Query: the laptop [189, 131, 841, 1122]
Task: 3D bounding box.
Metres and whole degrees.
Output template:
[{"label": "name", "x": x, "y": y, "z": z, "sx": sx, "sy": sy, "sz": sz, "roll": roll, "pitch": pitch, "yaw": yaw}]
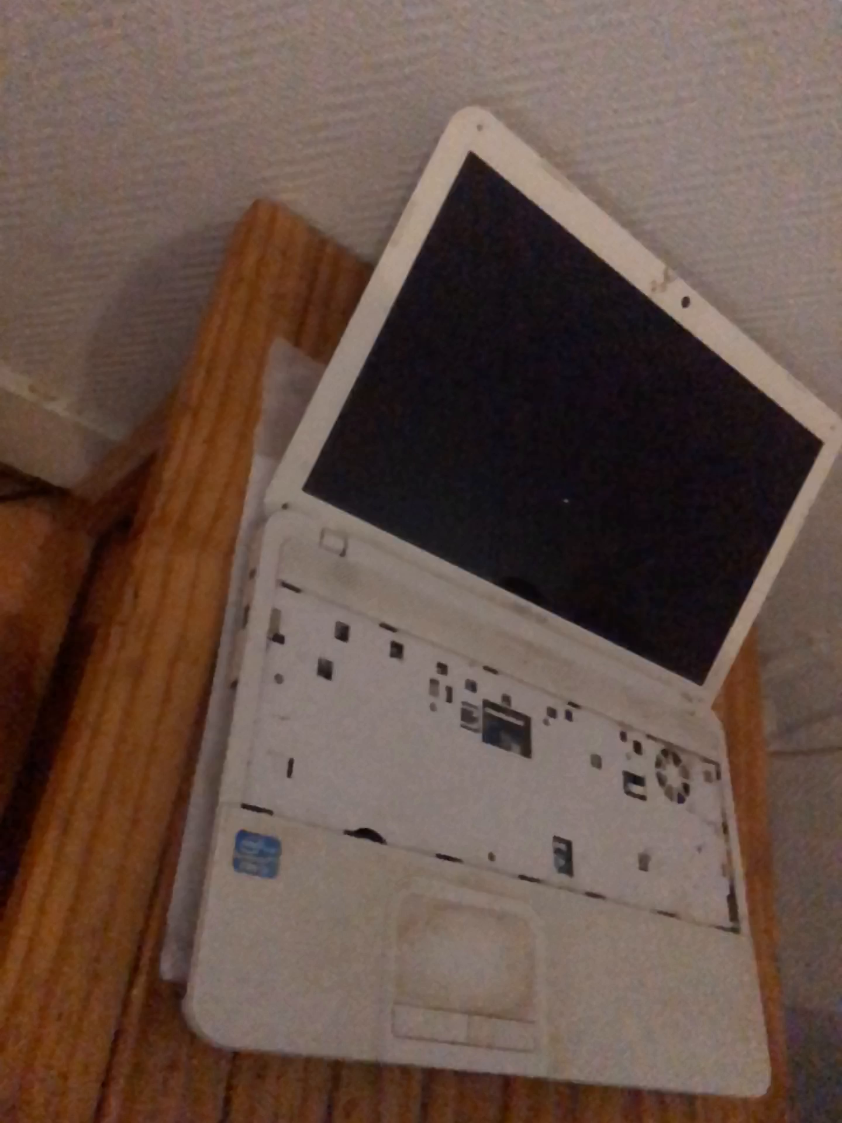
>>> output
[{"label": "laptop", "x": 0.108, "y": 0.044, "z": 0.504, "sx": 0.372, "sy": 0.118, "sz": 0.419, "roll": 27, "pitch": 51, "yaw": -31}]
